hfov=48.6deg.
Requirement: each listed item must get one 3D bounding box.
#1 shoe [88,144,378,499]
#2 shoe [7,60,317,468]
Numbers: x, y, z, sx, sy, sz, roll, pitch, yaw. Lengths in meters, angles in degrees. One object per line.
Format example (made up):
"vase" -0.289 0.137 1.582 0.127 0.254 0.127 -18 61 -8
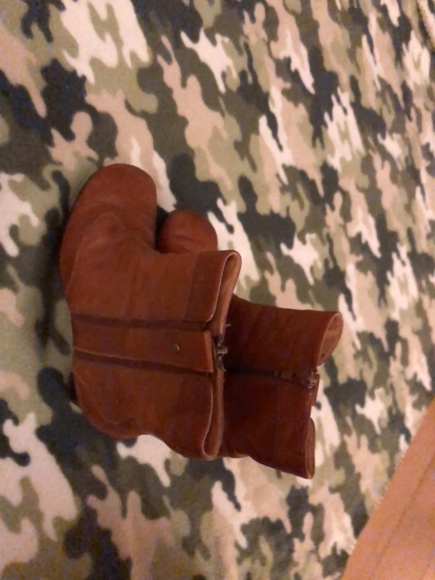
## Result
"shoe" 0.008 0.027 0.393 0.090 0.189 0.220 25 70 -37
"shoe" -0.046 -0.008 0.350 0.090 0.189 0.220 22 72 -38
